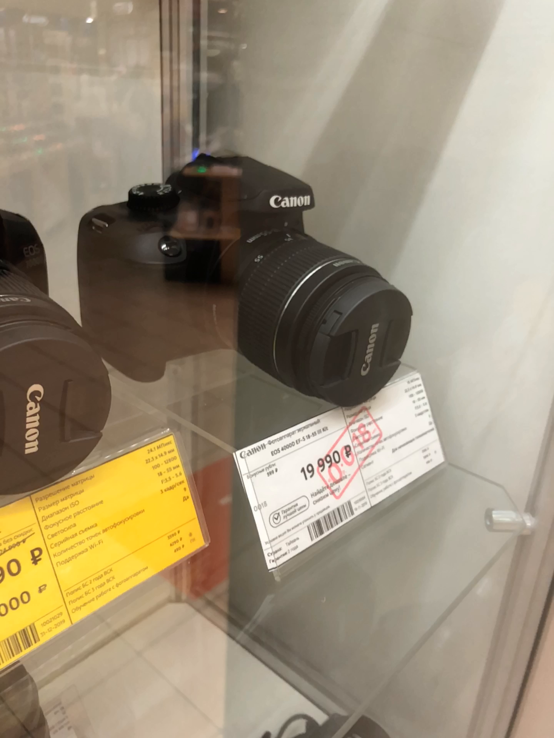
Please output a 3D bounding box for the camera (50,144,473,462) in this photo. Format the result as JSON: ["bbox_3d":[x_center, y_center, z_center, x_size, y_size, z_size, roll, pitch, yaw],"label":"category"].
[{"bbox_3d":[-0.011,-0.050,0.300,0.147,0.100,0.125,24,30,39],"label":"camera"}]
